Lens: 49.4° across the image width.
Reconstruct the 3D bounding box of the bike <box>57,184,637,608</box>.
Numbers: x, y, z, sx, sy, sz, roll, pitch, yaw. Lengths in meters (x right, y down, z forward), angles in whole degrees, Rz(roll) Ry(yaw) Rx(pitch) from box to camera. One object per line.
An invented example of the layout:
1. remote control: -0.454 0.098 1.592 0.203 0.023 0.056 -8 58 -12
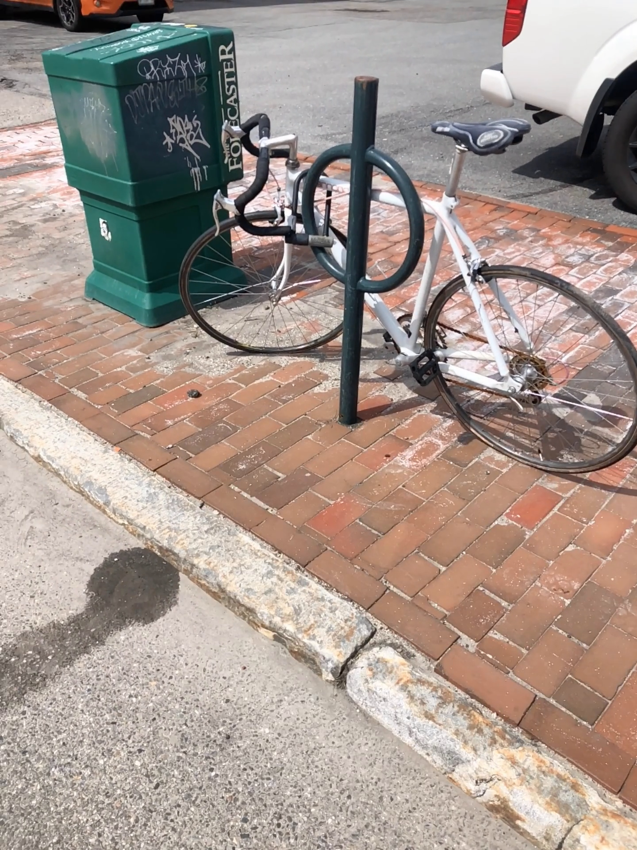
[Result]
1. bike: 0.075 -0.149 1.680 1.275 0.650 0.467 17 37 28
